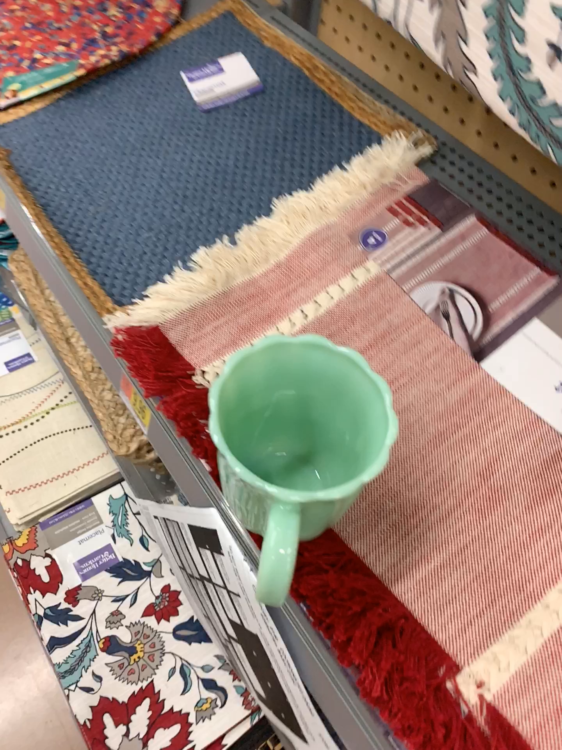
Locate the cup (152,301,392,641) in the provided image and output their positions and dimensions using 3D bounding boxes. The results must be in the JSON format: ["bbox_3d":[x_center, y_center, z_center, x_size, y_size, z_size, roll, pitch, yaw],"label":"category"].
[{"bbox_3d":[-0.001,0.048,0.293,0.090,0.090,0.130,10,53,-1],"label":"cup"}]
